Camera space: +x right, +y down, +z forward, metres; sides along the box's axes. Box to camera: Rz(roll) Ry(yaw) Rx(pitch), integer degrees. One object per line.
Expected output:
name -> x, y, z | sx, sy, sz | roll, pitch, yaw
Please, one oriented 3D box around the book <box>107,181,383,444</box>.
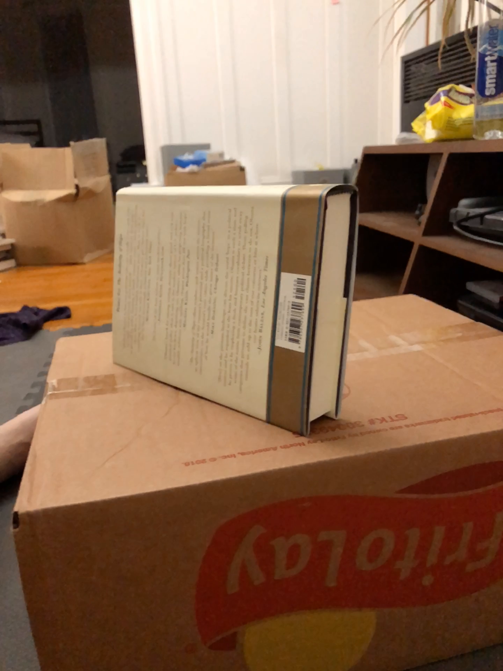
book -> -0.025, -0.037, 0.467 | 0.251, 0.170, 0.060 | 15, 15, 43
